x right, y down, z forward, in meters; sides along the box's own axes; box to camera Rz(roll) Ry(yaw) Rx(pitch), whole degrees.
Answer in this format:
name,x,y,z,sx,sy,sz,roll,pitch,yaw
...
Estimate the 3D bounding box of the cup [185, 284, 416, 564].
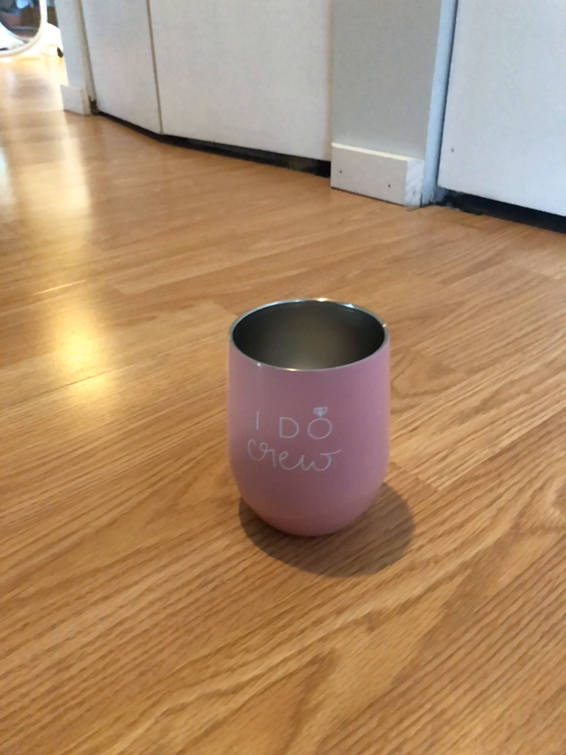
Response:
name,x,y,z,sx,sy,sz,roll,pitch,yaw
cup,0.014,0.019,0.328,0.090,0.100,0.090,-1,31,0
